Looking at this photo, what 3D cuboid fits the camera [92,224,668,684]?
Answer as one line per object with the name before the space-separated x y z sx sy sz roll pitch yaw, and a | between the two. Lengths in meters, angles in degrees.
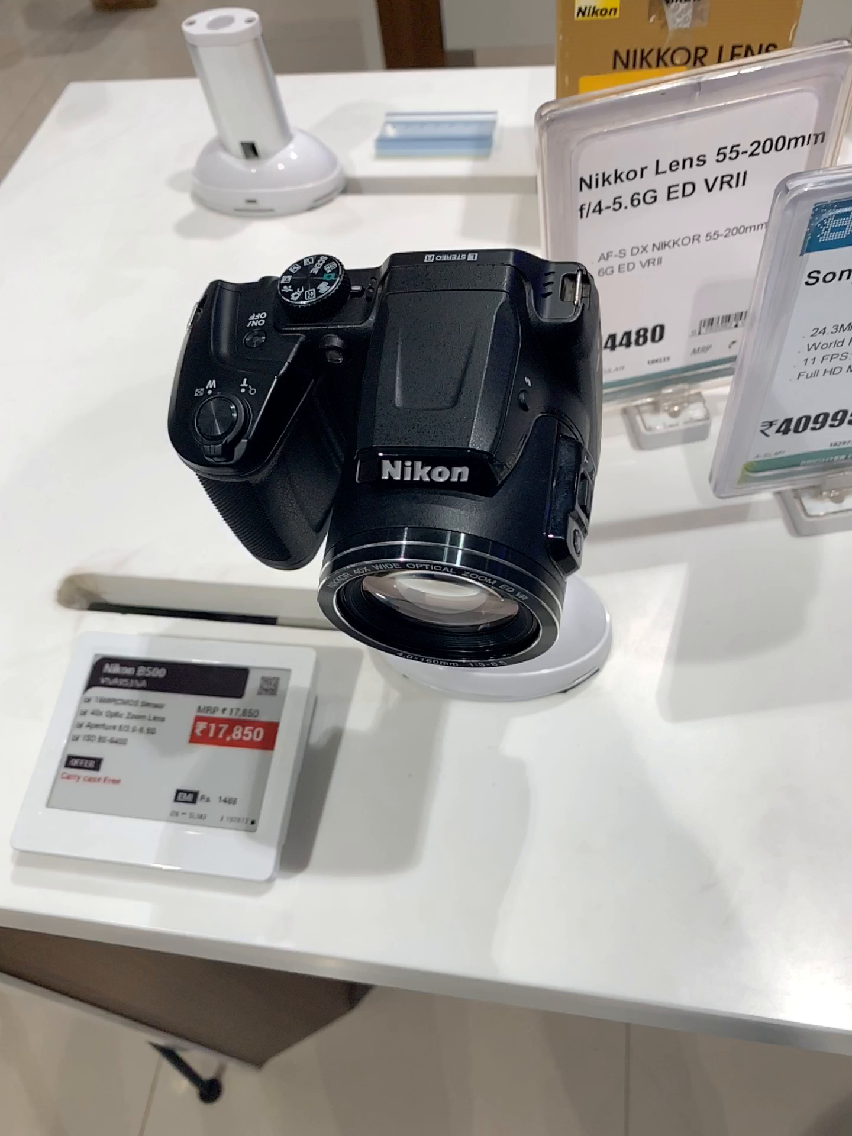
camera | -0.003 -0.028 0.220 0.113 0.070 0.083 4 63 10
